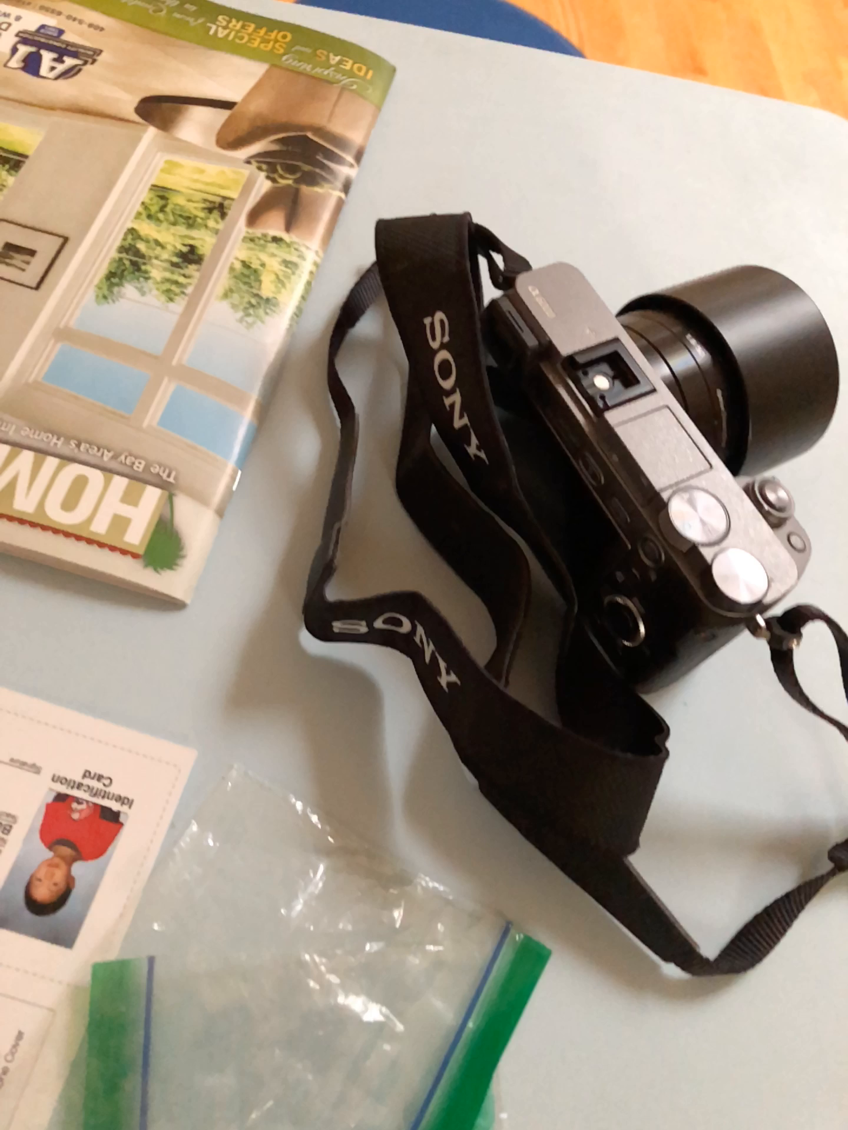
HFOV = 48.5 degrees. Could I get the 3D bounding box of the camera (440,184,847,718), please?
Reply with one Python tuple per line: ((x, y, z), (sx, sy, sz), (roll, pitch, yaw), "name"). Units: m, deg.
((0.091, -0.041, 0.304), (0.110, 0.070, 0.130), (-22, 69, -24), "camera")
